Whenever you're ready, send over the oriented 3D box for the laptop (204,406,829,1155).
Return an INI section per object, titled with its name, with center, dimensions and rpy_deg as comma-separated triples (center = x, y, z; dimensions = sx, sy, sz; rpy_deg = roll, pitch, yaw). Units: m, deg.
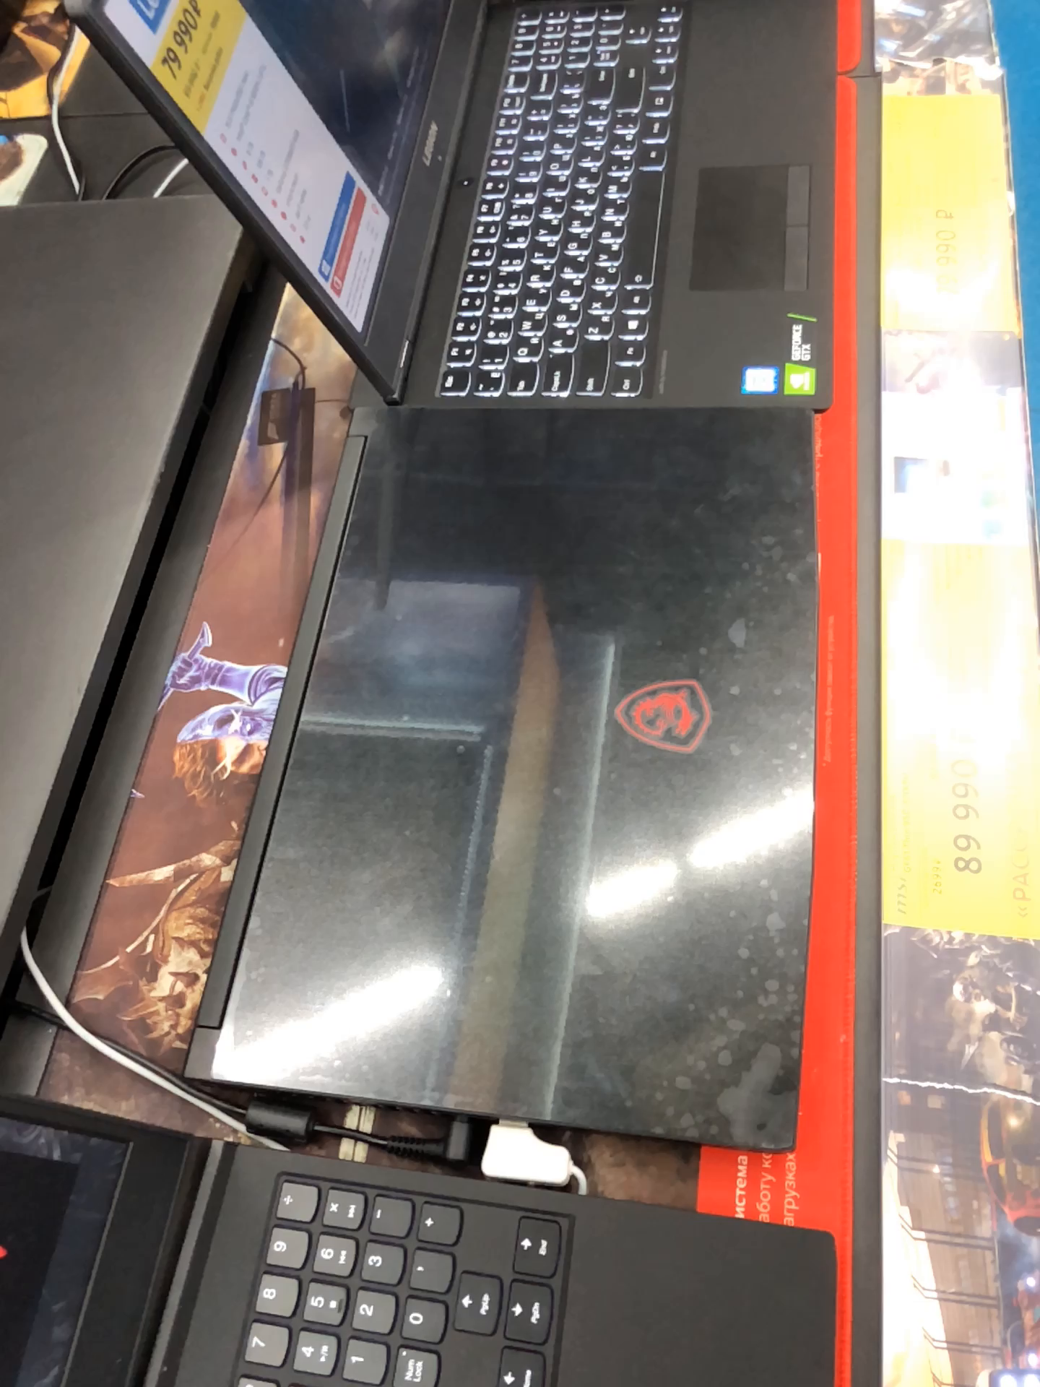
[laptop]
center = 0.014, 0.008, 0.520
dimensions = 0.238, 0.002, 0.353
rpy_deg = 3, 63, 12
